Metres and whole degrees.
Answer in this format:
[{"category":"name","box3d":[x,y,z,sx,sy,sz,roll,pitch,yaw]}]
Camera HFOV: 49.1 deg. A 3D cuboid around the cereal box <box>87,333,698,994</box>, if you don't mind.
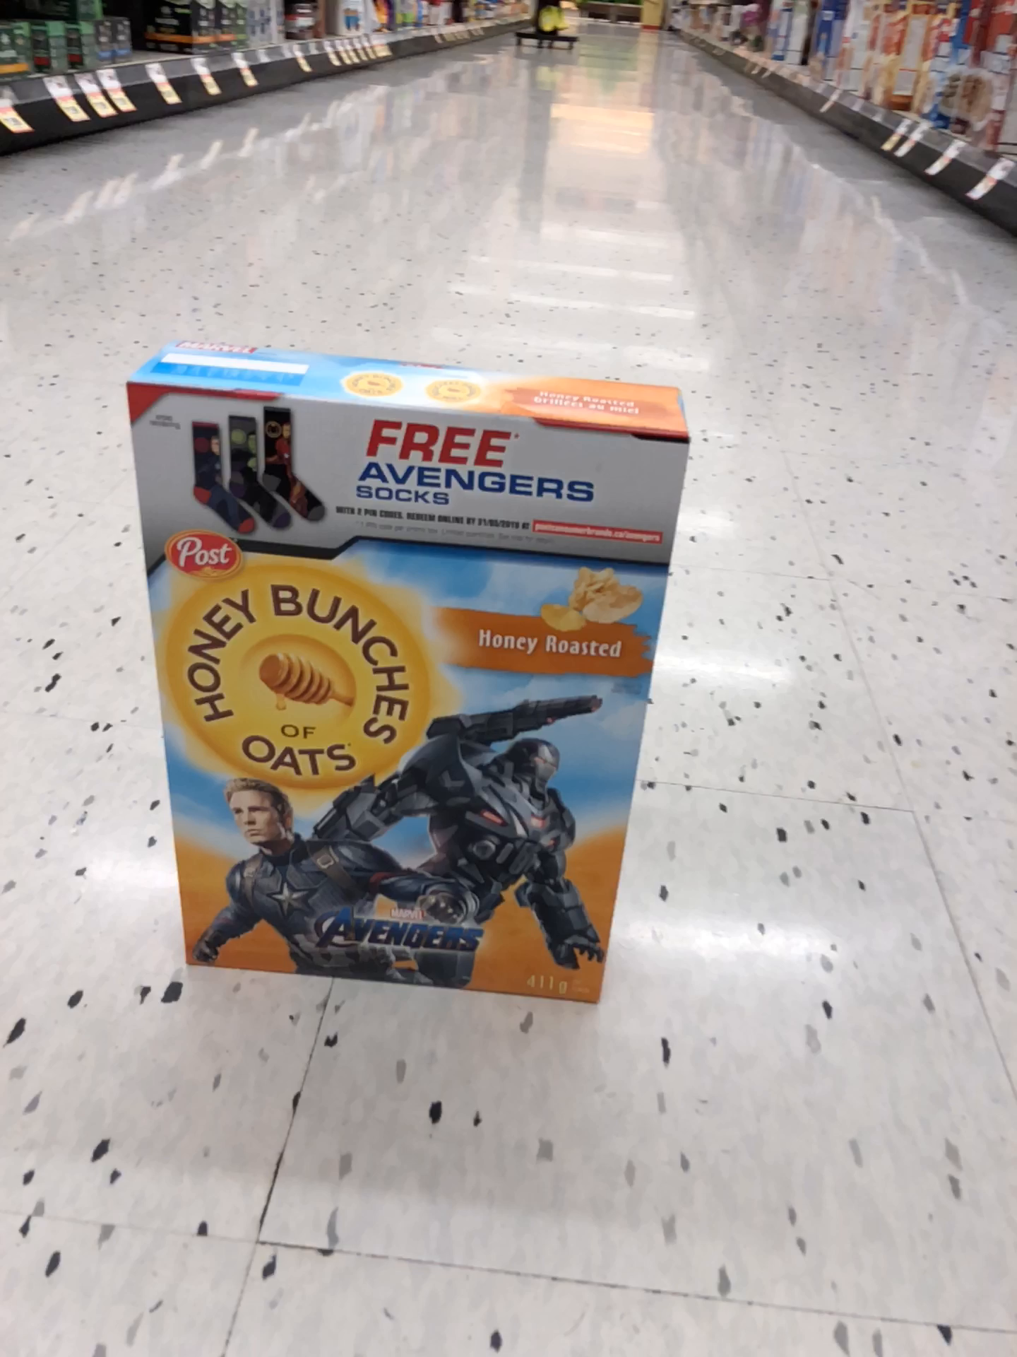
[{"category":"cereal box","box3d":[-0.047,0.006,0.455,0.200,0.258,0.060,5,31,-1]}]
